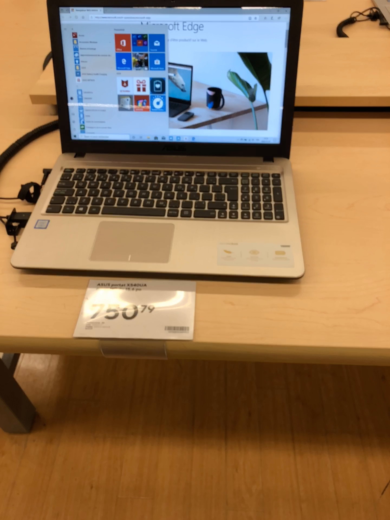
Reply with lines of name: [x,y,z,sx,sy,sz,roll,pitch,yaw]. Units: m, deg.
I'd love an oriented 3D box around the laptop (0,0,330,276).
laptop: [-0.050,-0.199,0.616,0.383,0.215,0.360,2,50,2]
